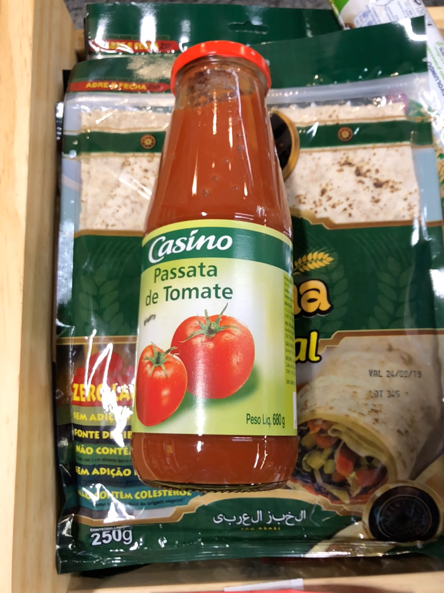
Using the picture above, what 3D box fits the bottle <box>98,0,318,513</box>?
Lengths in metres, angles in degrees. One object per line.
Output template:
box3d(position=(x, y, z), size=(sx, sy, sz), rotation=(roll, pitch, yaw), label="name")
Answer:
box3d(position=(0.000, -0.024, 0.253), size=(0.070, 0.080, 0.230), rotation=(-6, 76, 27), label="bottle")
